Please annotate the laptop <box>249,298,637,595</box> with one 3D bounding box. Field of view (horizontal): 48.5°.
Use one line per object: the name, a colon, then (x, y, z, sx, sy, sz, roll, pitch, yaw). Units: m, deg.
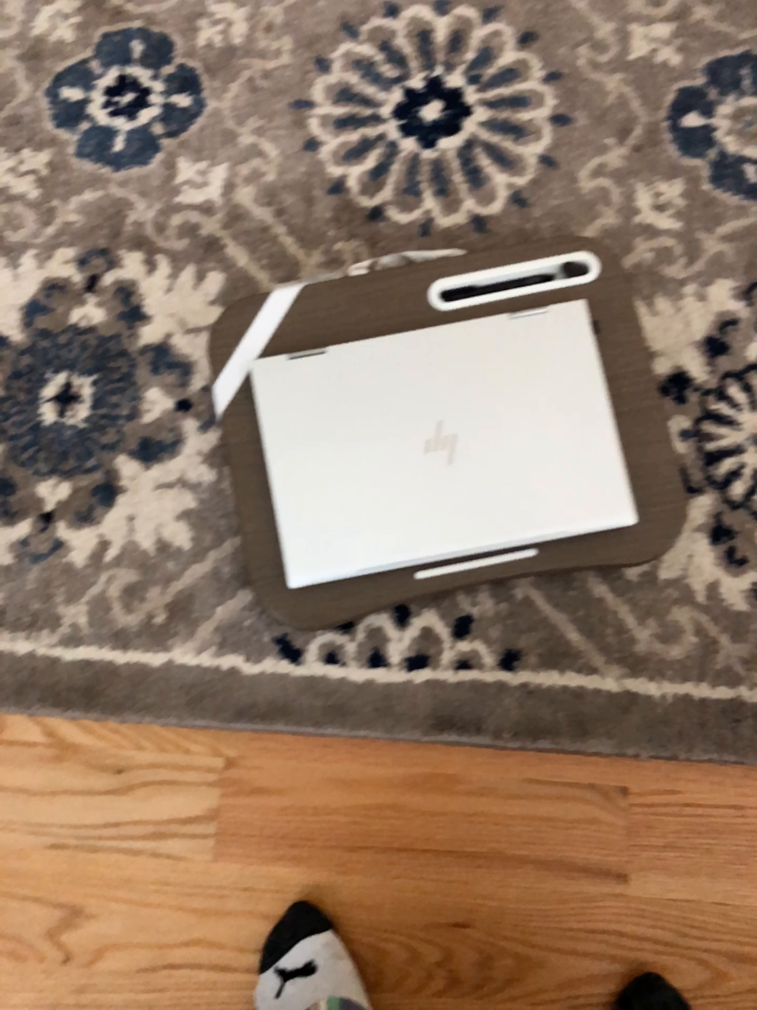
laptop: (0.061, -0.062, 0.865, 0.354, 0.026, 0.241, -11, 79, 0)
